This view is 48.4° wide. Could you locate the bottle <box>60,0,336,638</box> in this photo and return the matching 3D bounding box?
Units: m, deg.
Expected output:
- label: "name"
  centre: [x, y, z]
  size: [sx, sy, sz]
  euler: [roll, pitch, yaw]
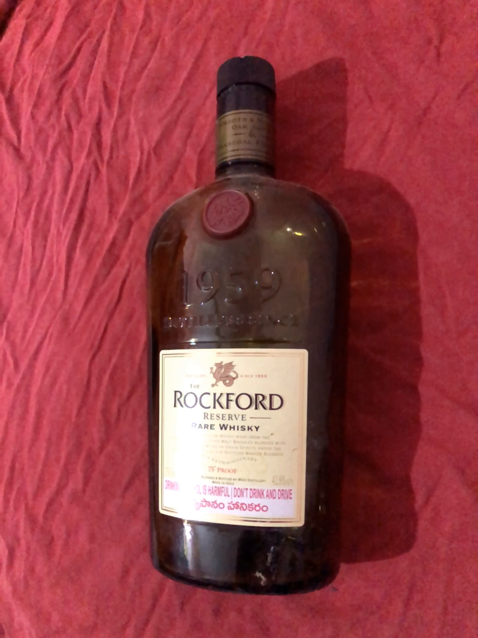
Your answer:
- label: "bottle"
  centre: [-0.014, -0.011, 0.238]
  size: [0.100, 0.060, 0.250]
  euler: [-2, 83, 19]
